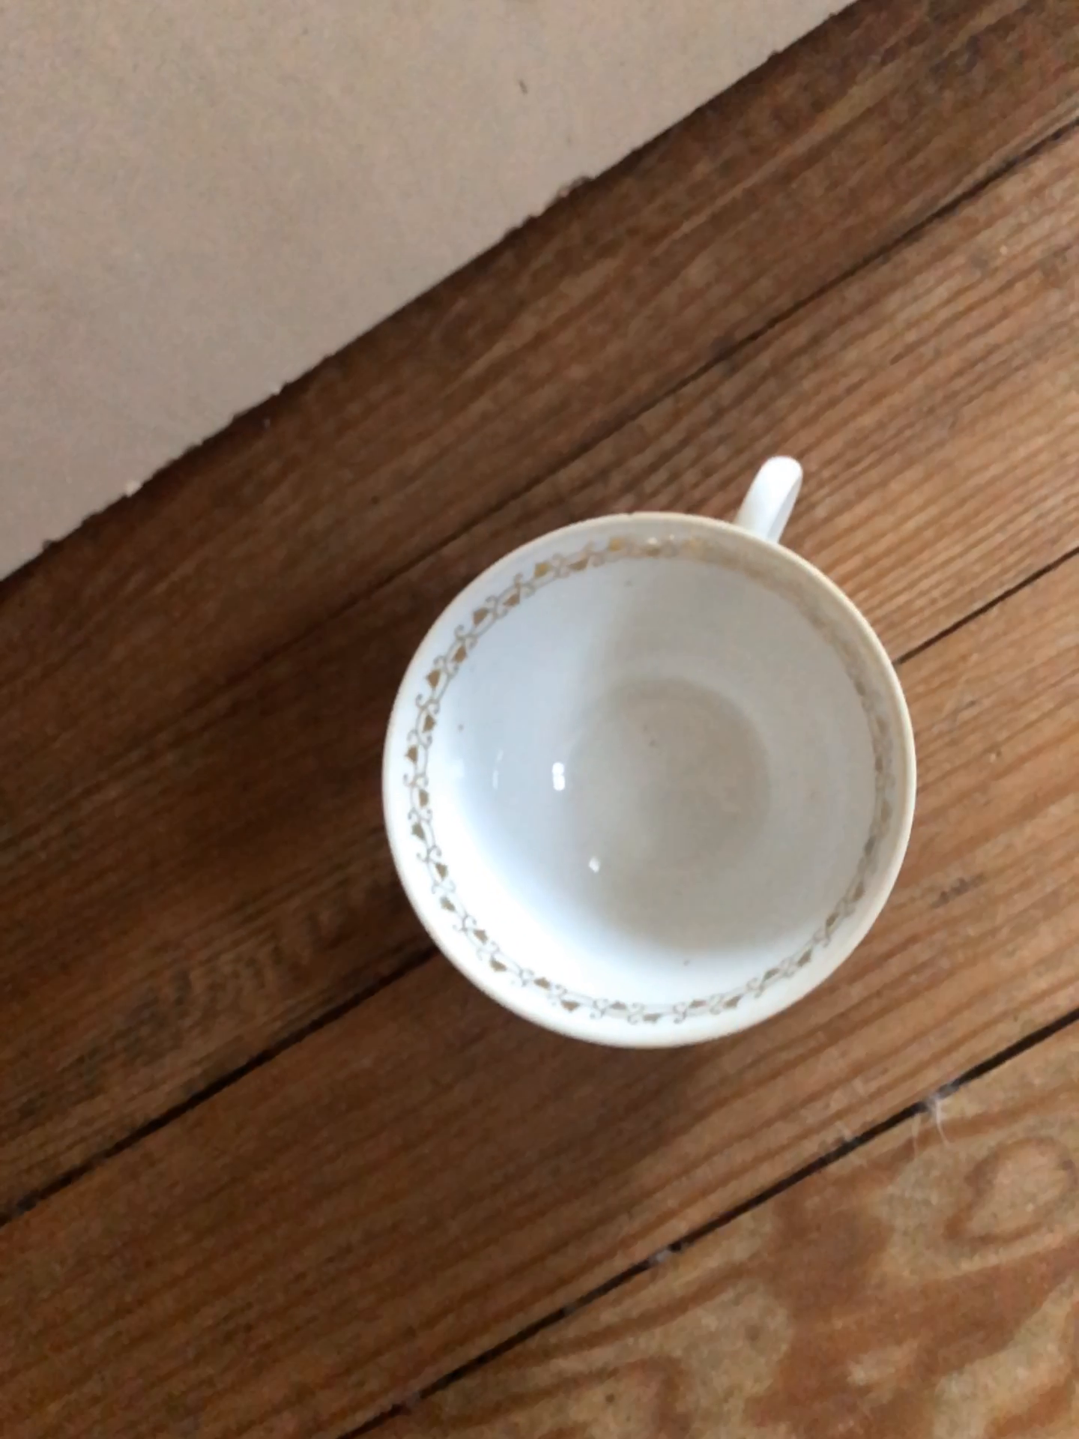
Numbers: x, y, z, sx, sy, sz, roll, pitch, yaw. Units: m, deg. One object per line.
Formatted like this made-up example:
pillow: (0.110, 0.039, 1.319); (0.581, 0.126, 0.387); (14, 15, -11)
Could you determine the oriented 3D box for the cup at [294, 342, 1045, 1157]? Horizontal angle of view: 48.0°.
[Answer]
cup: (0.021, 0.003, 0.202); (0.080, 0.040, 0.100); (23, 88, 12)
